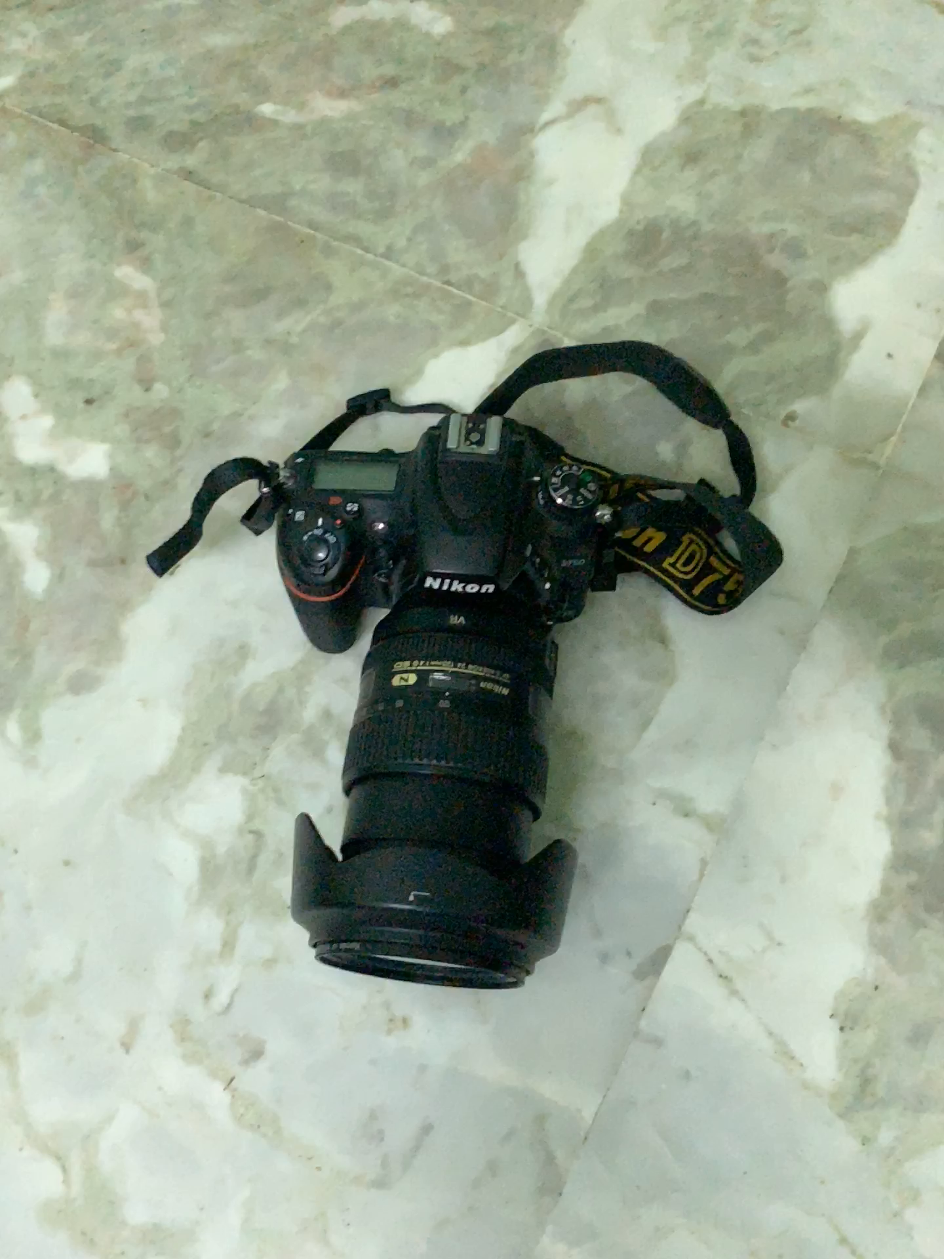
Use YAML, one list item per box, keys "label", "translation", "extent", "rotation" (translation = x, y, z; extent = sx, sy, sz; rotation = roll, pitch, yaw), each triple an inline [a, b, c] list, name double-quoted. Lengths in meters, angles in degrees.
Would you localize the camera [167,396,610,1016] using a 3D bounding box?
- label: "camera"
  translation: [-0.018, 0.029, 0.366]
  extent: [0.130, 0.090, 0.210]
  rotation: [3, 68, 3]
